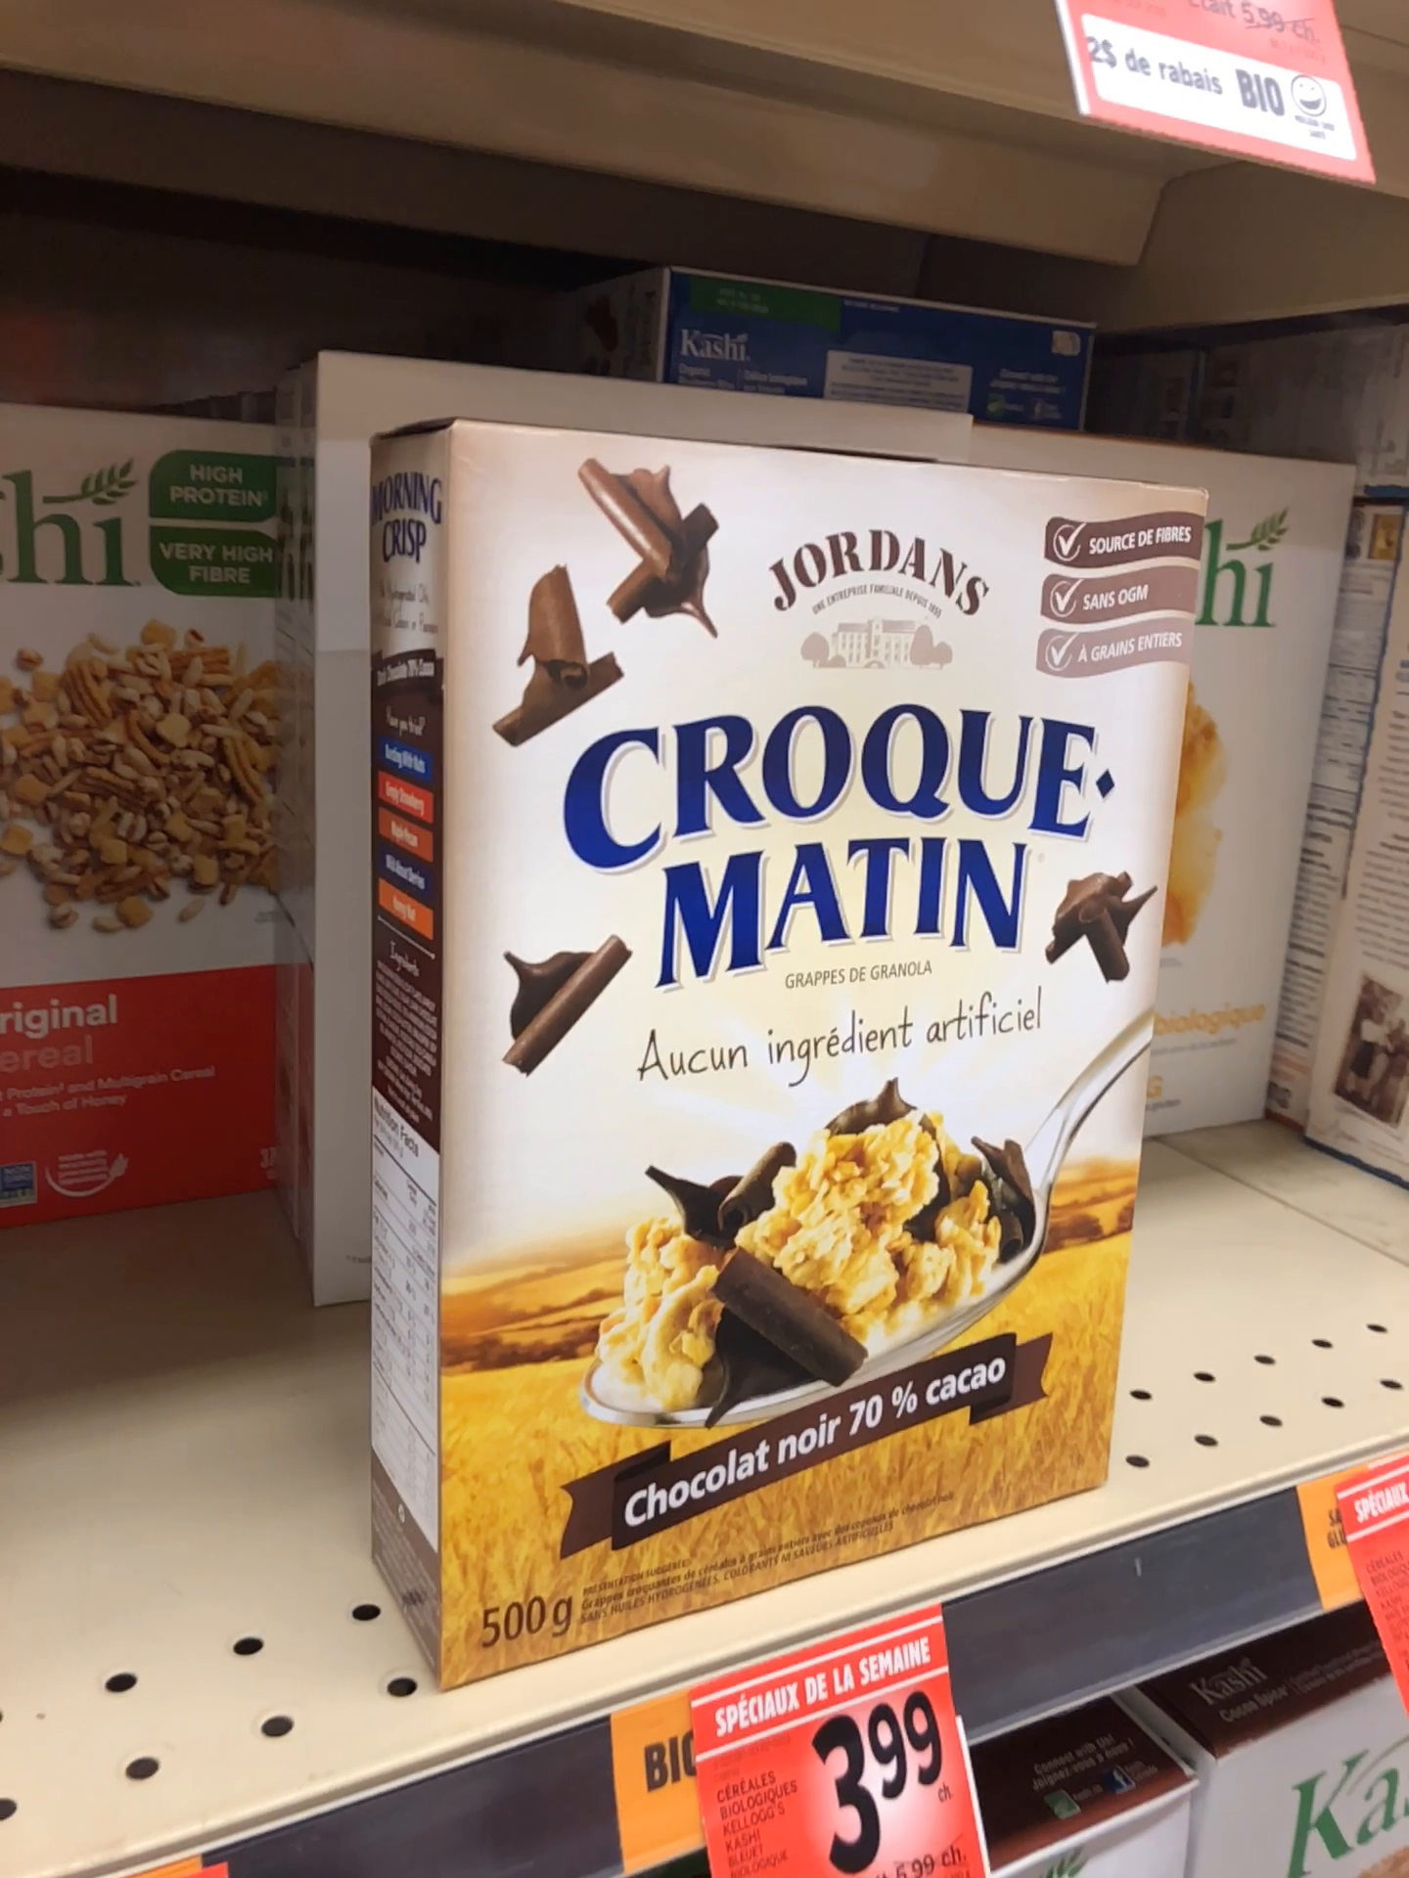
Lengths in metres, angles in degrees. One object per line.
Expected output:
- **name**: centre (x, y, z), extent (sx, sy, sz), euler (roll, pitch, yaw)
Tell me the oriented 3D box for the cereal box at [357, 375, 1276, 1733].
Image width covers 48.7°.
- **cereal box**: centre (0.025, 0.019, 0.342), extent (0.190, 0.249, 0.050), euler (-4, 13, -28)
